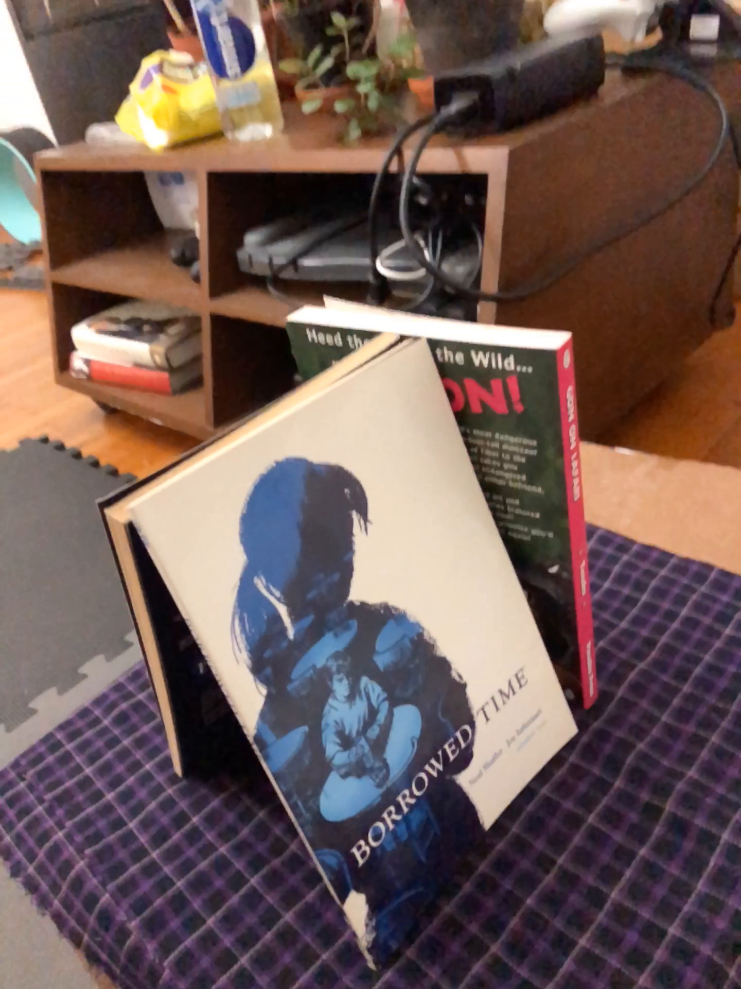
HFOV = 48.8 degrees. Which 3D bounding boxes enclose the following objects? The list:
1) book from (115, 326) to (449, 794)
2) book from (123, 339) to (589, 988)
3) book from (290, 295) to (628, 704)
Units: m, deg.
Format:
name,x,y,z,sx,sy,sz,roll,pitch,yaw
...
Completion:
name,x,y,z,sx,sy,sz,roll,pitch,yaw
book,-0.031,0.038,0.367,0.010,0.199,0.150,37,54,26
book,0.013,0.060,0.312,0.140,0.199,0.010,-35,20,-35
book,0.045,0.004,0.385,0.140,0.189,0.020,18,48,39
